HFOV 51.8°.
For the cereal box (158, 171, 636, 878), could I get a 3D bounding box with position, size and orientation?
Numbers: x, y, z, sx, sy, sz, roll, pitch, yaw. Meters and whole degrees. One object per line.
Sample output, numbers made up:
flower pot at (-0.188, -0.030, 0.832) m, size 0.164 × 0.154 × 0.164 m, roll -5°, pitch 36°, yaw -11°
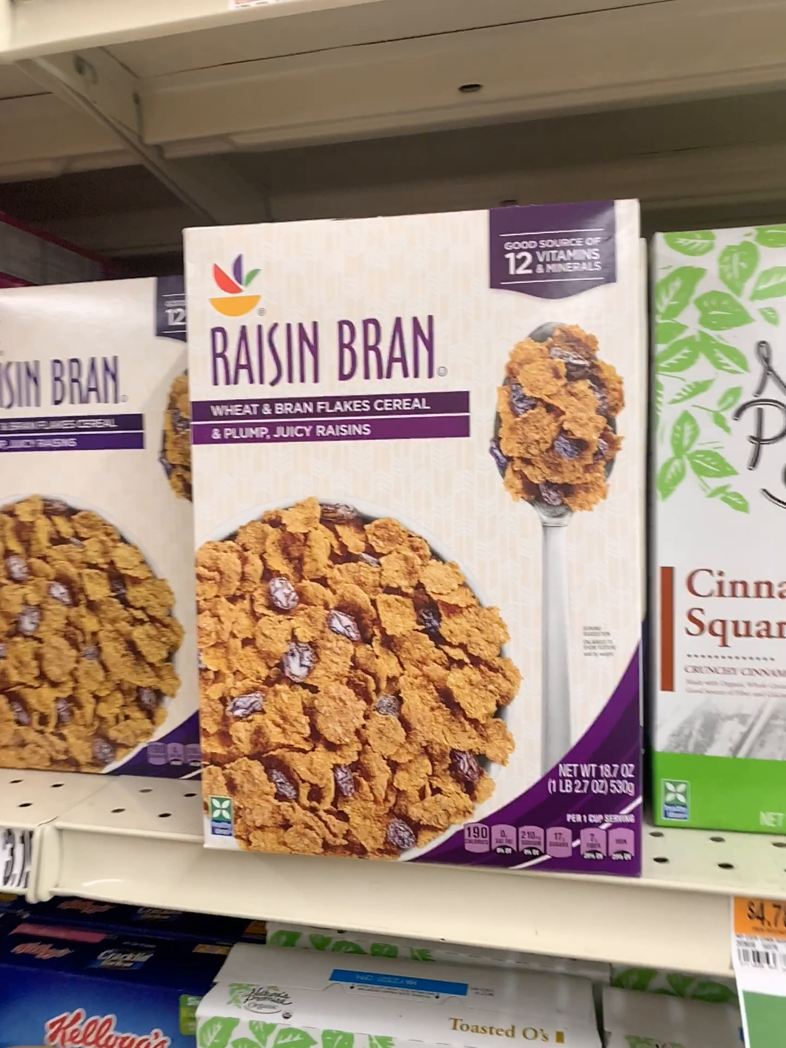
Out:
cereal box at (0.006, 0.002, 0.360) m, size 0.190 × 0.270 × 0.070 m, roll -1°, pitch 4°, yaw 11°
